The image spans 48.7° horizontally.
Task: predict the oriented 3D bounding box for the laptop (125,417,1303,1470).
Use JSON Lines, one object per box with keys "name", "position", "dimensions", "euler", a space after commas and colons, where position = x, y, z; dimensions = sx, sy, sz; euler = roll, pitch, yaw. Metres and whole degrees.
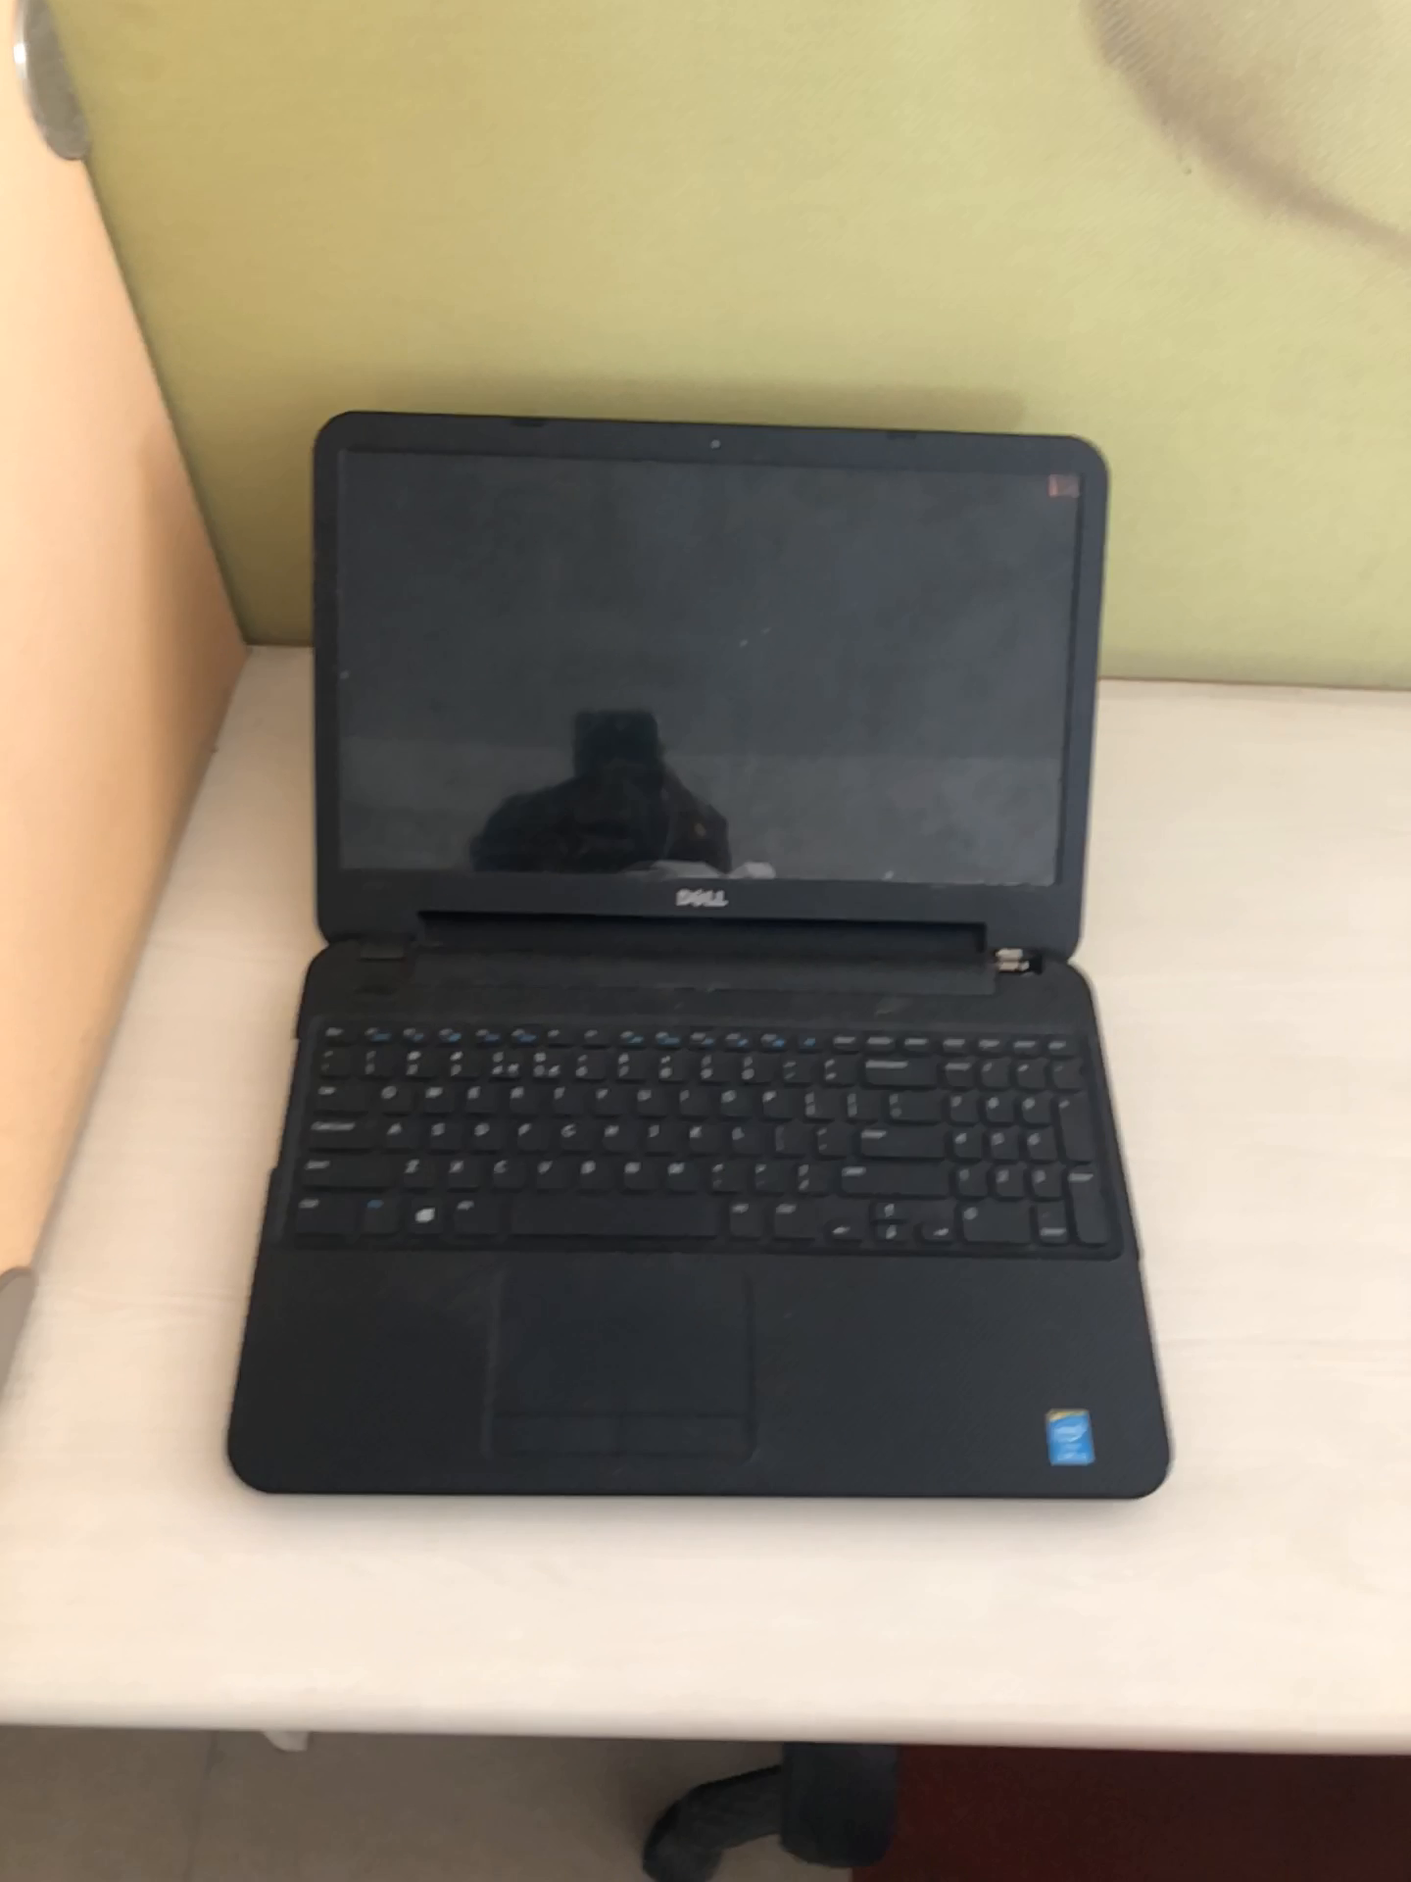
{"name": "laptop", "position": [0.003, -0.016, 0.662], "dimensions": [0.356, 0.165, 0.426], "euler": [1, 54, -2]}
